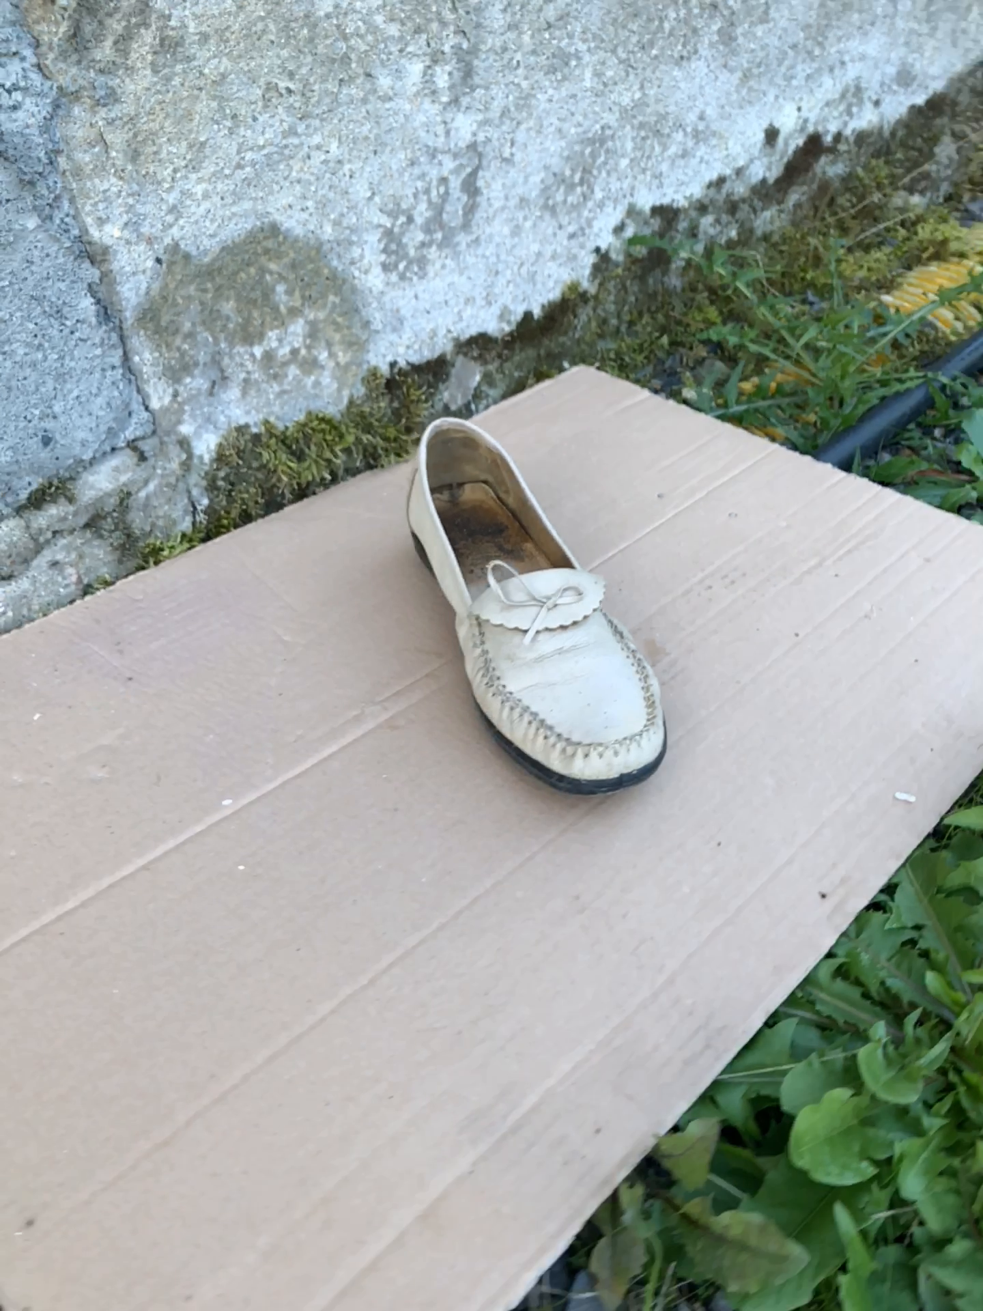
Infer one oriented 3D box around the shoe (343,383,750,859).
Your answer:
[{"bbox_3d":[0.015,-0.034,0.548,0.100,0.080,0.261,-19,42,-12],"label":"shoe"}]
